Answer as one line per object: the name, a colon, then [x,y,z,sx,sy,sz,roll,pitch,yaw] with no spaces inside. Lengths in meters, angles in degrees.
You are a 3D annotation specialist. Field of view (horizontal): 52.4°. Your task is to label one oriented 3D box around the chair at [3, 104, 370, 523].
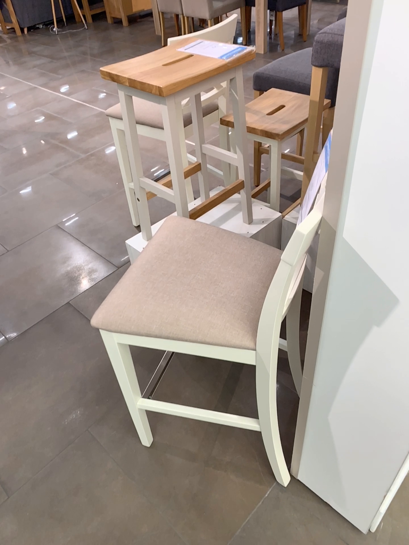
chair: [0.032,0.141,1.074,0.538,0.938,0.453,13,45,20]
